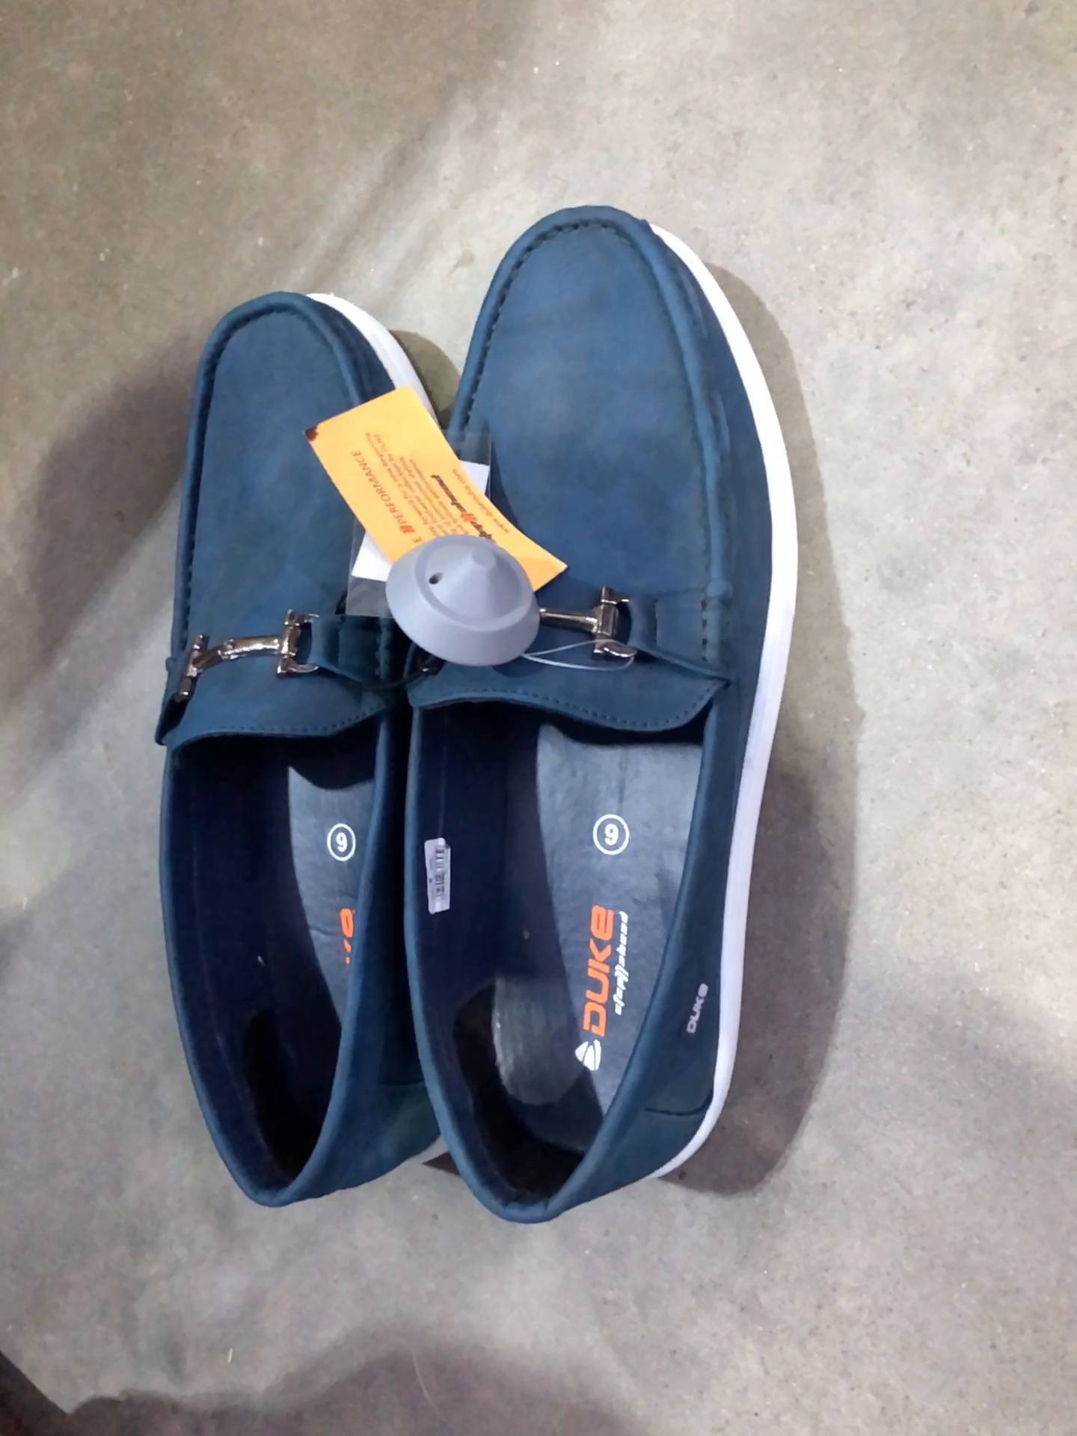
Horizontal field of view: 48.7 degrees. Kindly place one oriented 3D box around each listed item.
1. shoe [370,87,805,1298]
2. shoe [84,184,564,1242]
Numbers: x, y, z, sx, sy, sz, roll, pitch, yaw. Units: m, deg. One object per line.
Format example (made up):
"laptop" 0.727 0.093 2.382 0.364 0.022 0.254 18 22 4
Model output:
"shoe" 0.017 -0.007 0.363 0.110 0.080 0.310 -1 89 24
"shoe" -0.072 0.001 0.405 0.110 0.080 0.310 -7 86 24
